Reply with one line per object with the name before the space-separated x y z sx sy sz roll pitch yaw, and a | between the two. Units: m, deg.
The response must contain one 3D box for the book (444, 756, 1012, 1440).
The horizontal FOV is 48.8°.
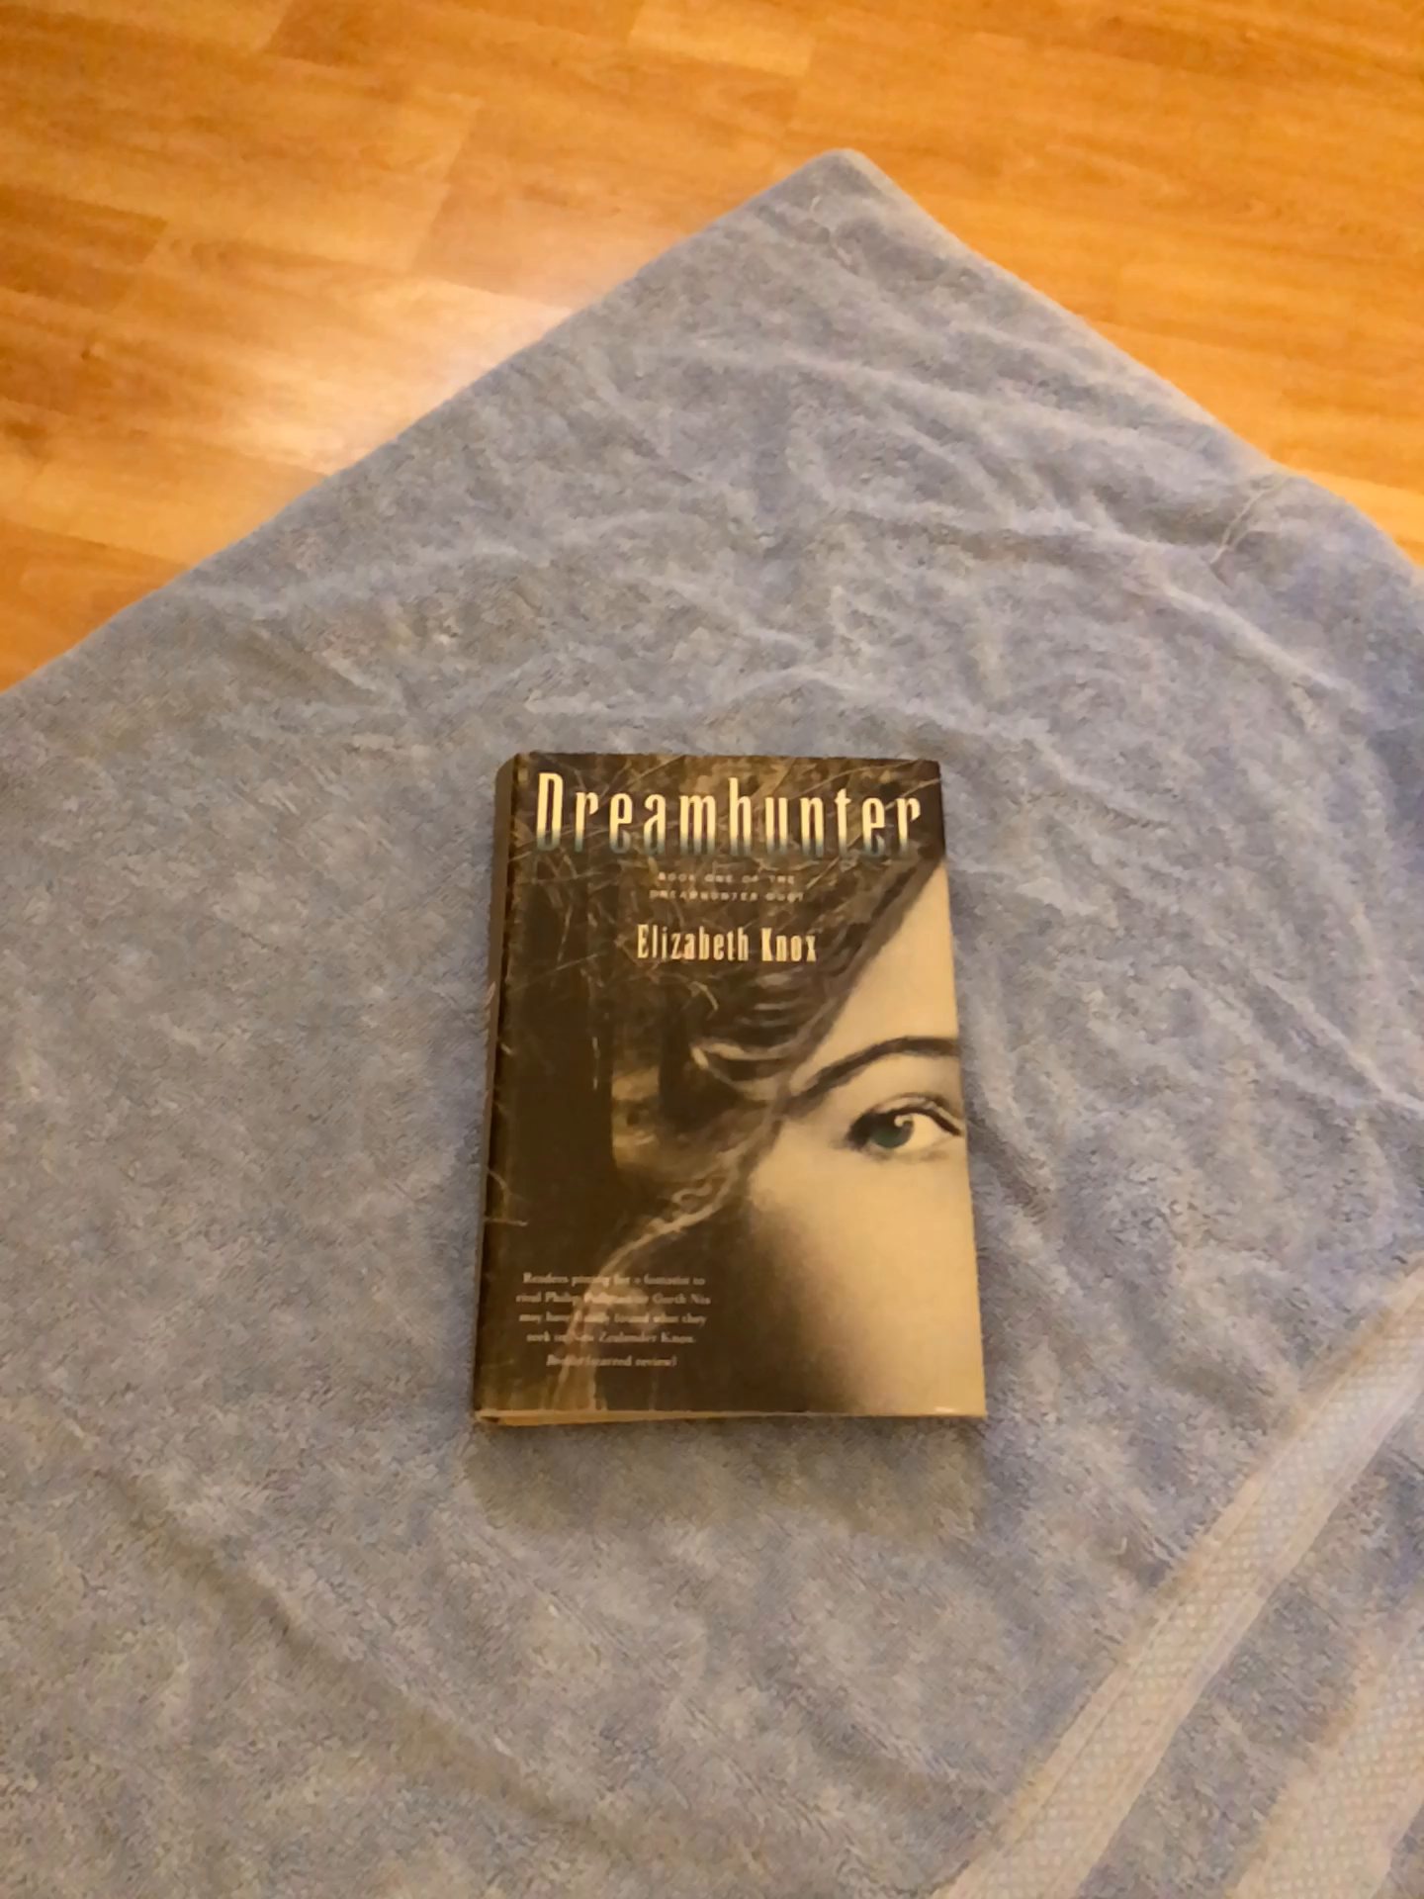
book | 0.003 0.041 0.513 0.163 0.030 0.225 0 64 -2
